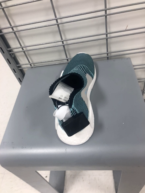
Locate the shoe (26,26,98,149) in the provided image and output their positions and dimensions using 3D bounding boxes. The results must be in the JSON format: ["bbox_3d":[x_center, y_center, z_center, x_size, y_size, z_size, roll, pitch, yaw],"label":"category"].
[{"bbox_3d":[0.001,-0.039,0.414,0.120,0.130,0.301,-2,50,10],"label":"shoe"}]
